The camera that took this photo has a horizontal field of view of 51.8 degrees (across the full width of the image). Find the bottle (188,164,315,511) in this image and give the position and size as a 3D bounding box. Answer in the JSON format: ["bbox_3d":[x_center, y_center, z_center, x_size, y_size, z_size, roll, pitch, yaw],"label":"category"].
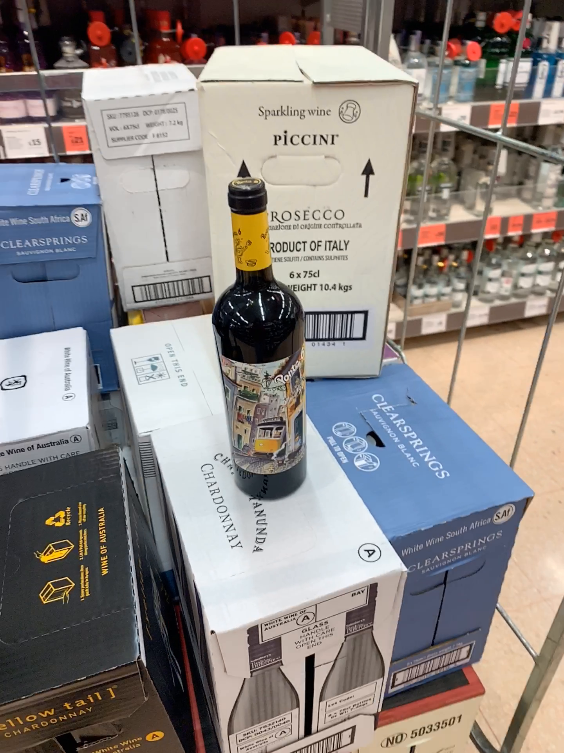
[{"bbox_3d":[-0.025,-0.023,0.514,0.078,0.295,0.077,0,33,0],"label":"bottle"}]
